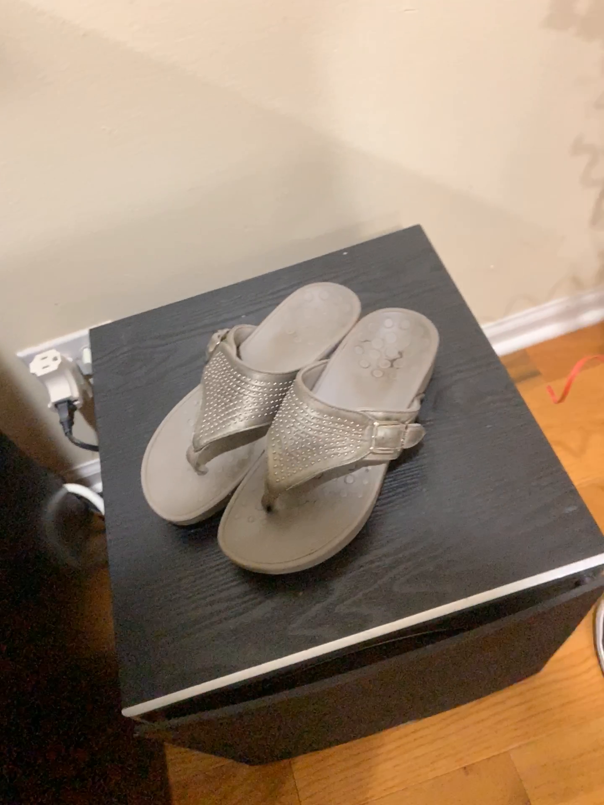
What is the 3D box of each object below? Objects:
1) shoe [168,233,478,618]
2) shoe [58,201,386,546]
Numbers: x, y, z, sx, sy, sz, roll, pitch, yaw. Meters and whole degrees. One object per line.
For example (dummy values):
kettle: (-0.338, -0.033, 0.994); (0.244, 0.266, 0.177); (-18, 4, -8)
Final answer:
shoe: (0.028, 0.004, 0.443); (0.108, 0.080, 0.248); (19, 63, 22)
shoe: (-0.046, -0.032, 0.480); (0.108, 0.080, 0.248); (26, 66, 25)
